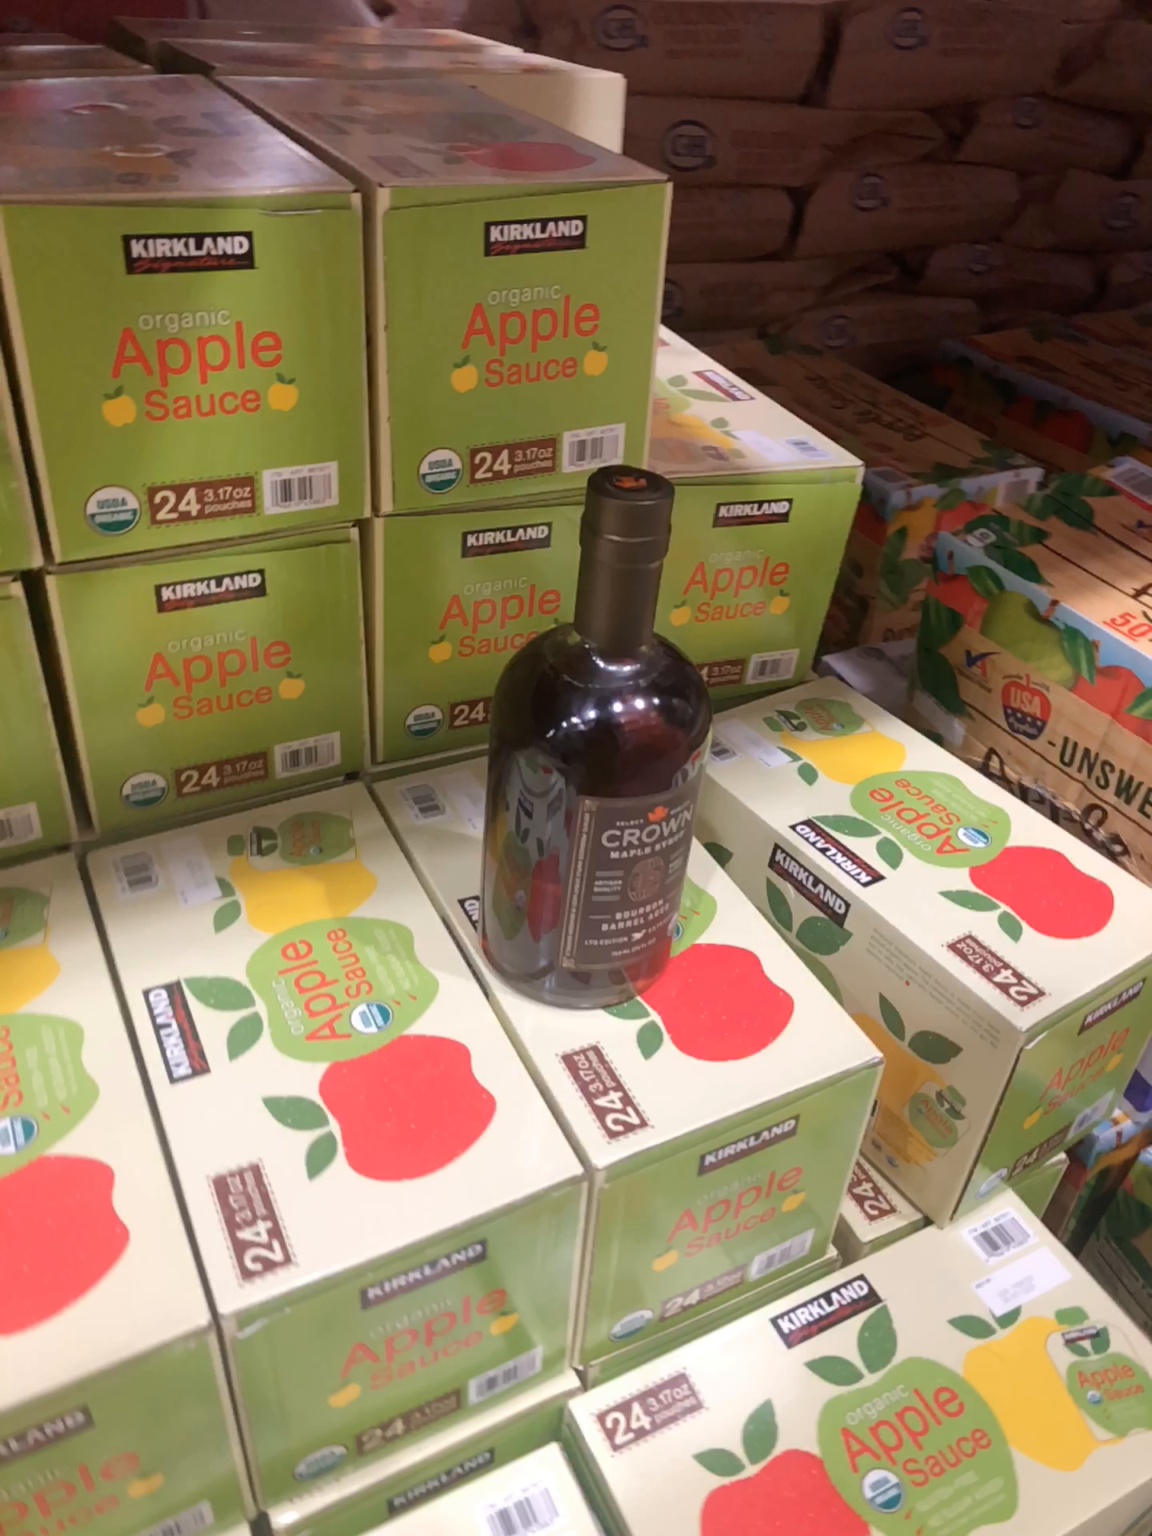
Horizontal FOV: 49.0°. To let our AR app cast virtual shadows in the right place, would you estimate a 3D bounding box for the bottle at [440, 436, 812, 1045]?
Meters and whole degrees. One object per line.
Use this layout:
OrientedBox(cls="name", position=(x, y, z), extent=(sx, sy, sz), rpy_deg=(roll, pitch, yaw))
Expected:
OrientedBox(cls="bottle", position=(0.010, -0.009, 0.522), extent=(0.100, 0.219, 0.090), rpy_deg=(-16, 40, -28))
